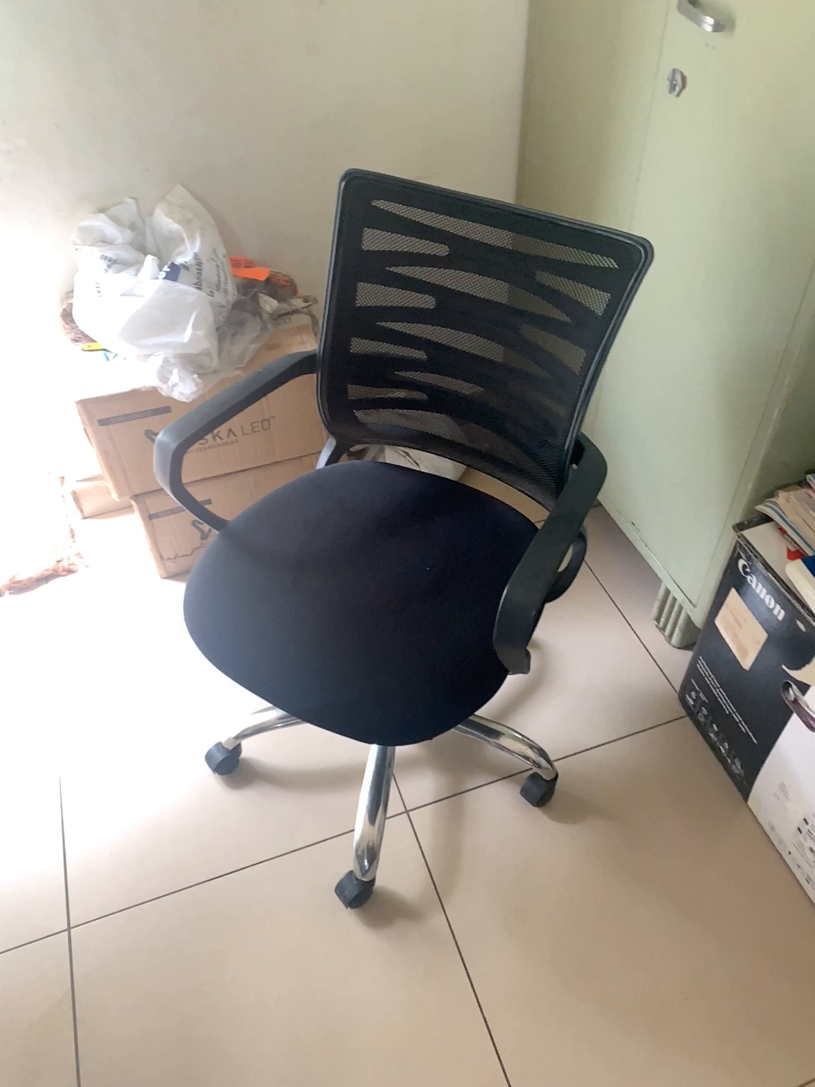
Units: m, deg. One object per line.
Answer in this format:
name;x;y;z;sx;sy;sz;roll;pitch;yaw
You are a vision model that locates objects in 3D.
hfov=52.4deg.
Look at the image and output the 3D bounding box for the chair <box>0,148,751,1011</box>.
chair;-0.035;0.071;1.289;0.681;0.996;0.651;23;50;22
